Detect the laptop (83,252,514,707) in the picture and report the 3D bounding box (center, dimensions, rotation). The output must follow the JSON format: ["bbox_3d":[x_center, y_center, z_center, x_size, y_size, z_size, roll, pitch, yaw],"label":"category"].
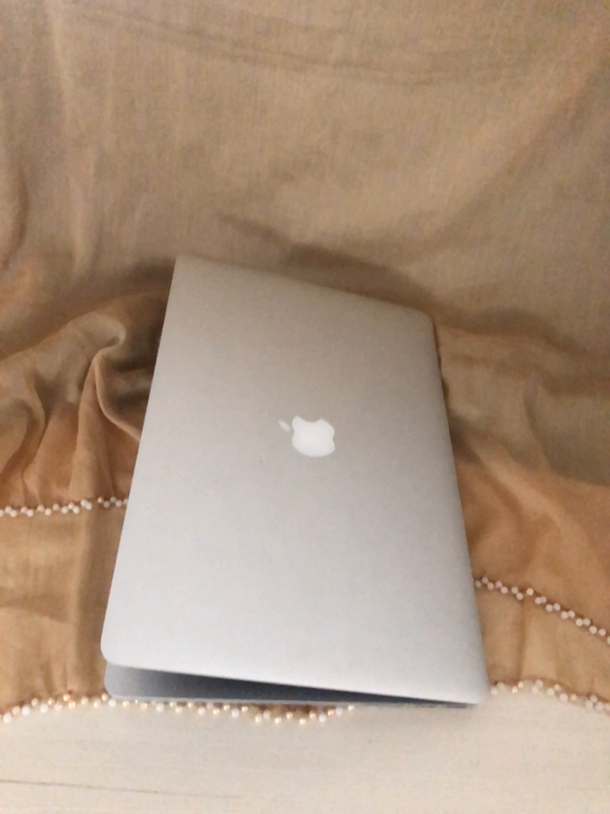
[{"bbox_3d":[-0.003,0.026,0.510,0.239,0.063,0.353,3,50,-2],"label":"laptop"}]
